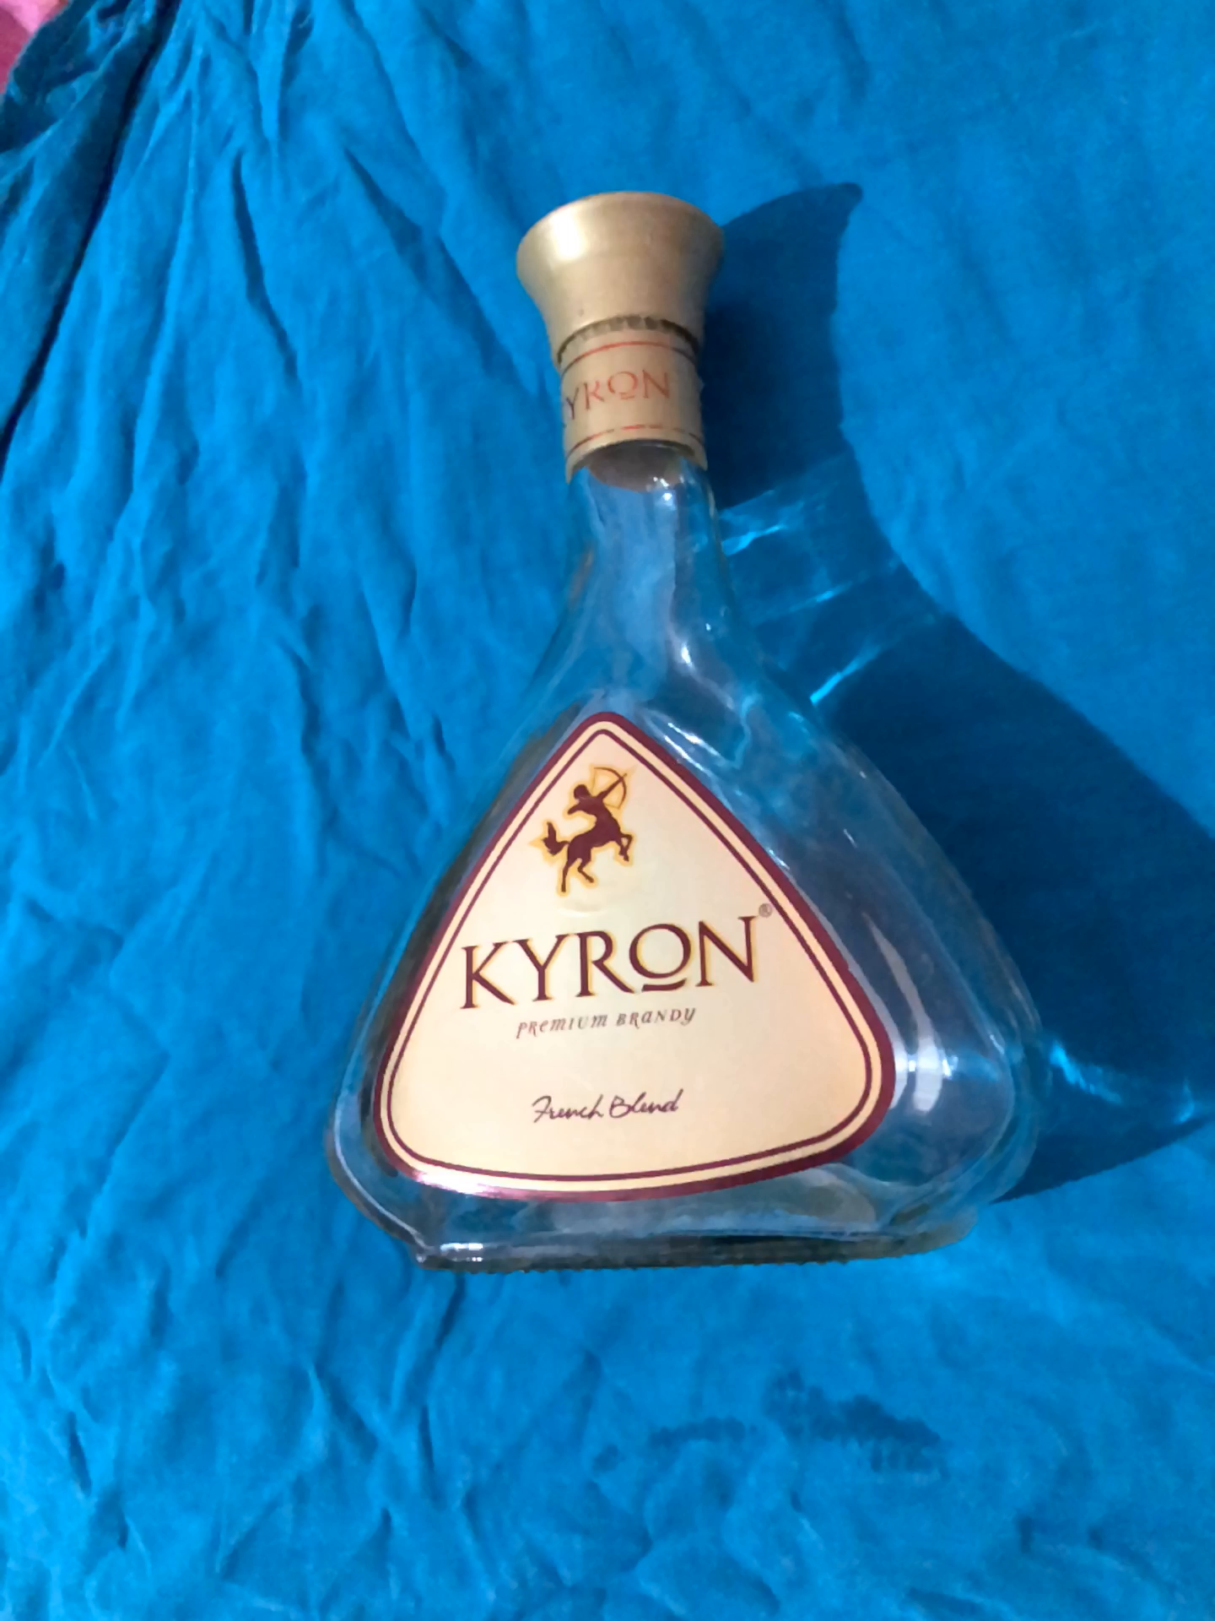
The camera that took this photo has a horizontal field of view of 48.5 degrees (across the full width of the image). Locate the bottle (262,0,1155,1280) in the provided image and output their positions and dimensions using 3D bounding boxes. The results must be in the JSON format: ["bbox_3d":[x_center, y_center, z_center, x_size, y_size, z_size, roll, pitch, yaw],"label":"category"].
[{"bbox_3d":[0.017,-0.033,0.290,0.150,0.080,0.240,-9,79,24],"label":"bottle"}]
